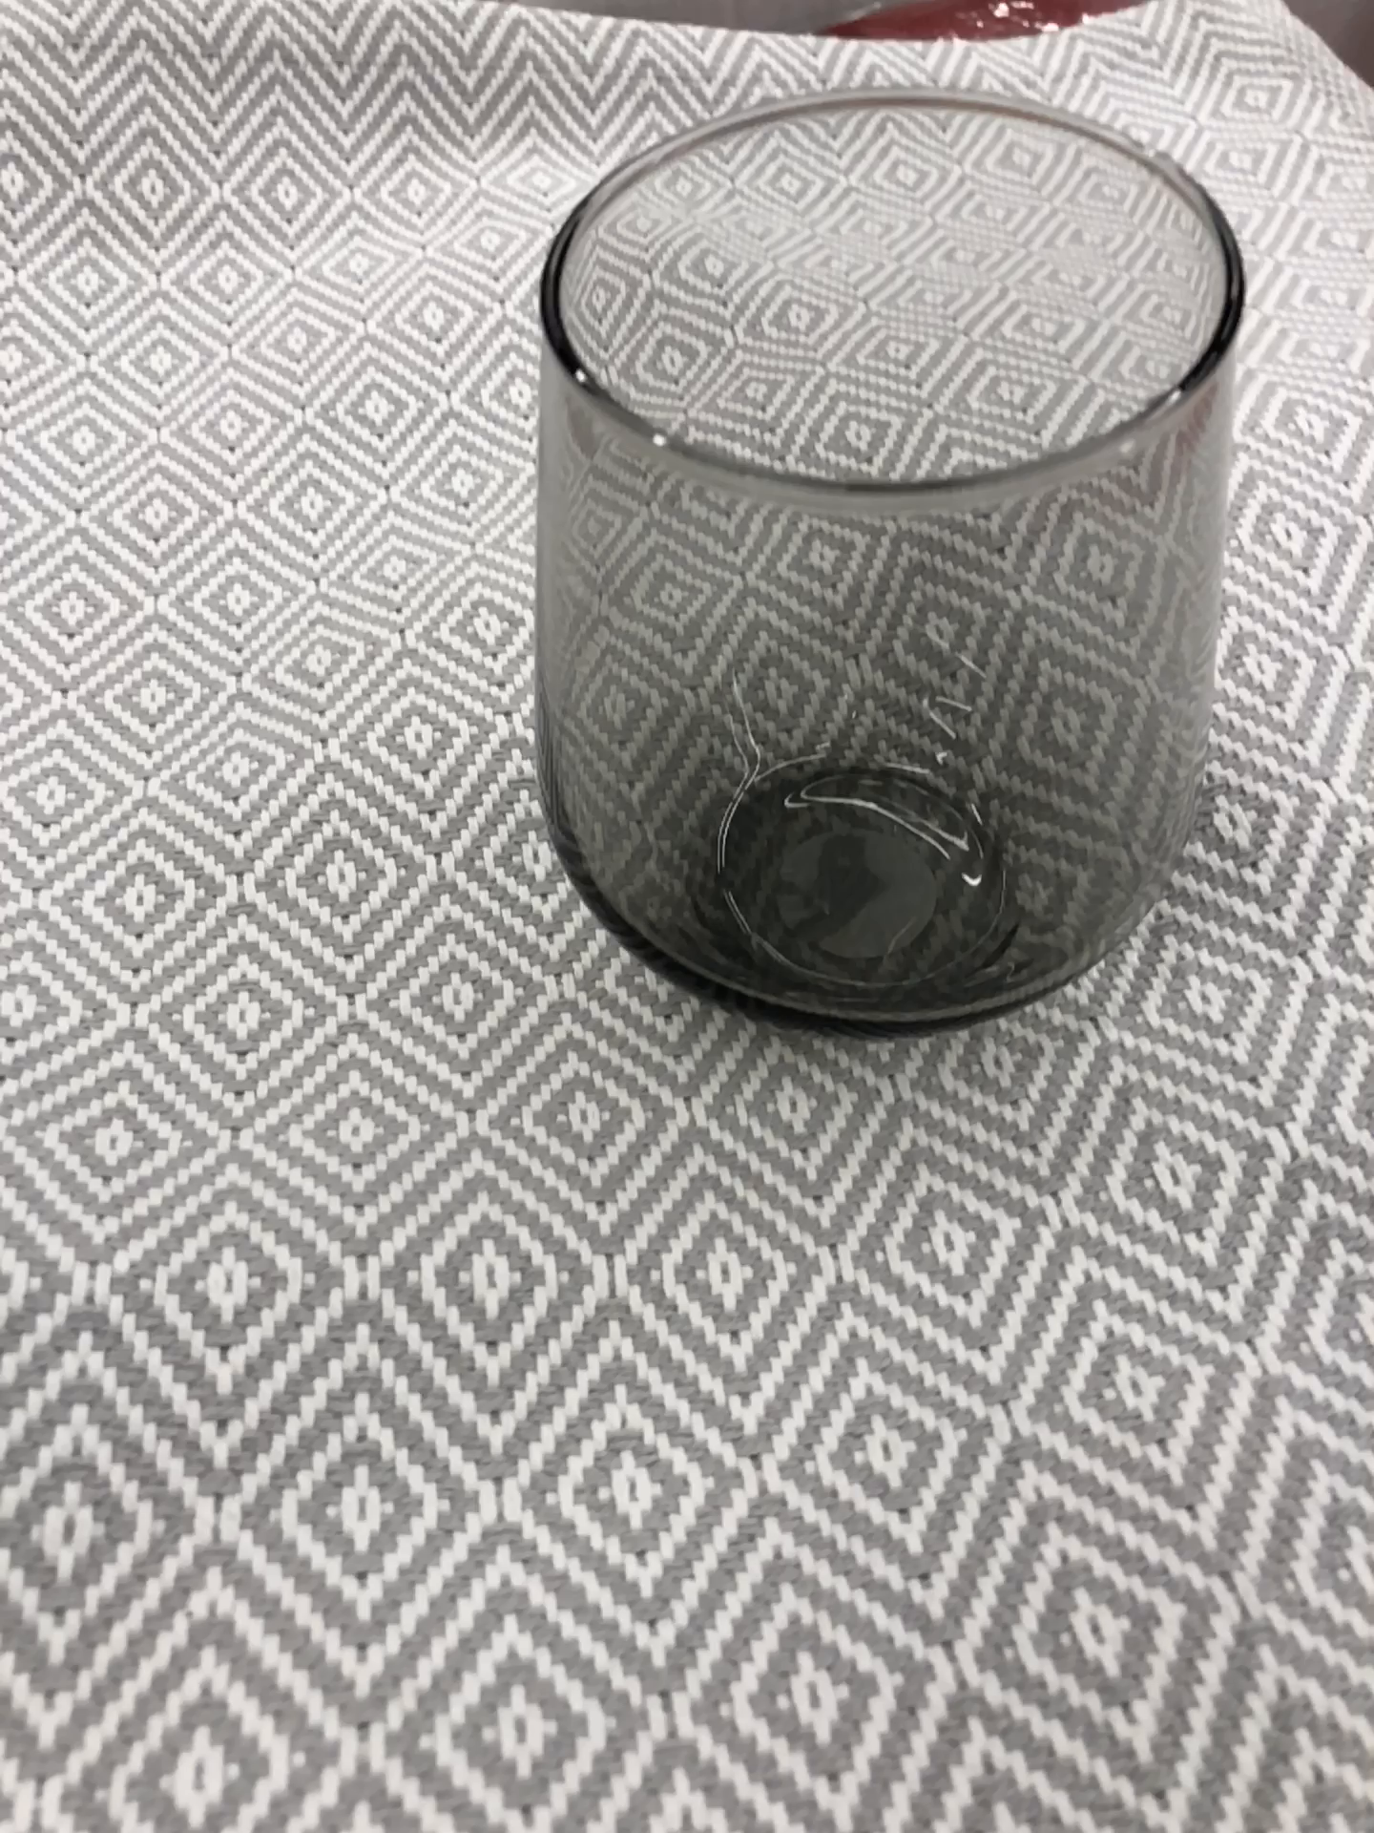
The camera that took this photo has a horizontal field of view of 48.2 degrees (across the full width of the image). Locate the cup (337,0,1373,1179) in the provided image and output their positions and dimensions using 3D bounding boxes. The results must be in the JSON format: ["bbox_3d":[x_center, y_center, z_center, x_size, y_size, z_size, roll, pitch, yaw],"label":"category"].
[{"bbox_3d":[0.027,-0.040,0.169,0.080,0.080,0.080,-2,51,2],"label":"cup"}]
